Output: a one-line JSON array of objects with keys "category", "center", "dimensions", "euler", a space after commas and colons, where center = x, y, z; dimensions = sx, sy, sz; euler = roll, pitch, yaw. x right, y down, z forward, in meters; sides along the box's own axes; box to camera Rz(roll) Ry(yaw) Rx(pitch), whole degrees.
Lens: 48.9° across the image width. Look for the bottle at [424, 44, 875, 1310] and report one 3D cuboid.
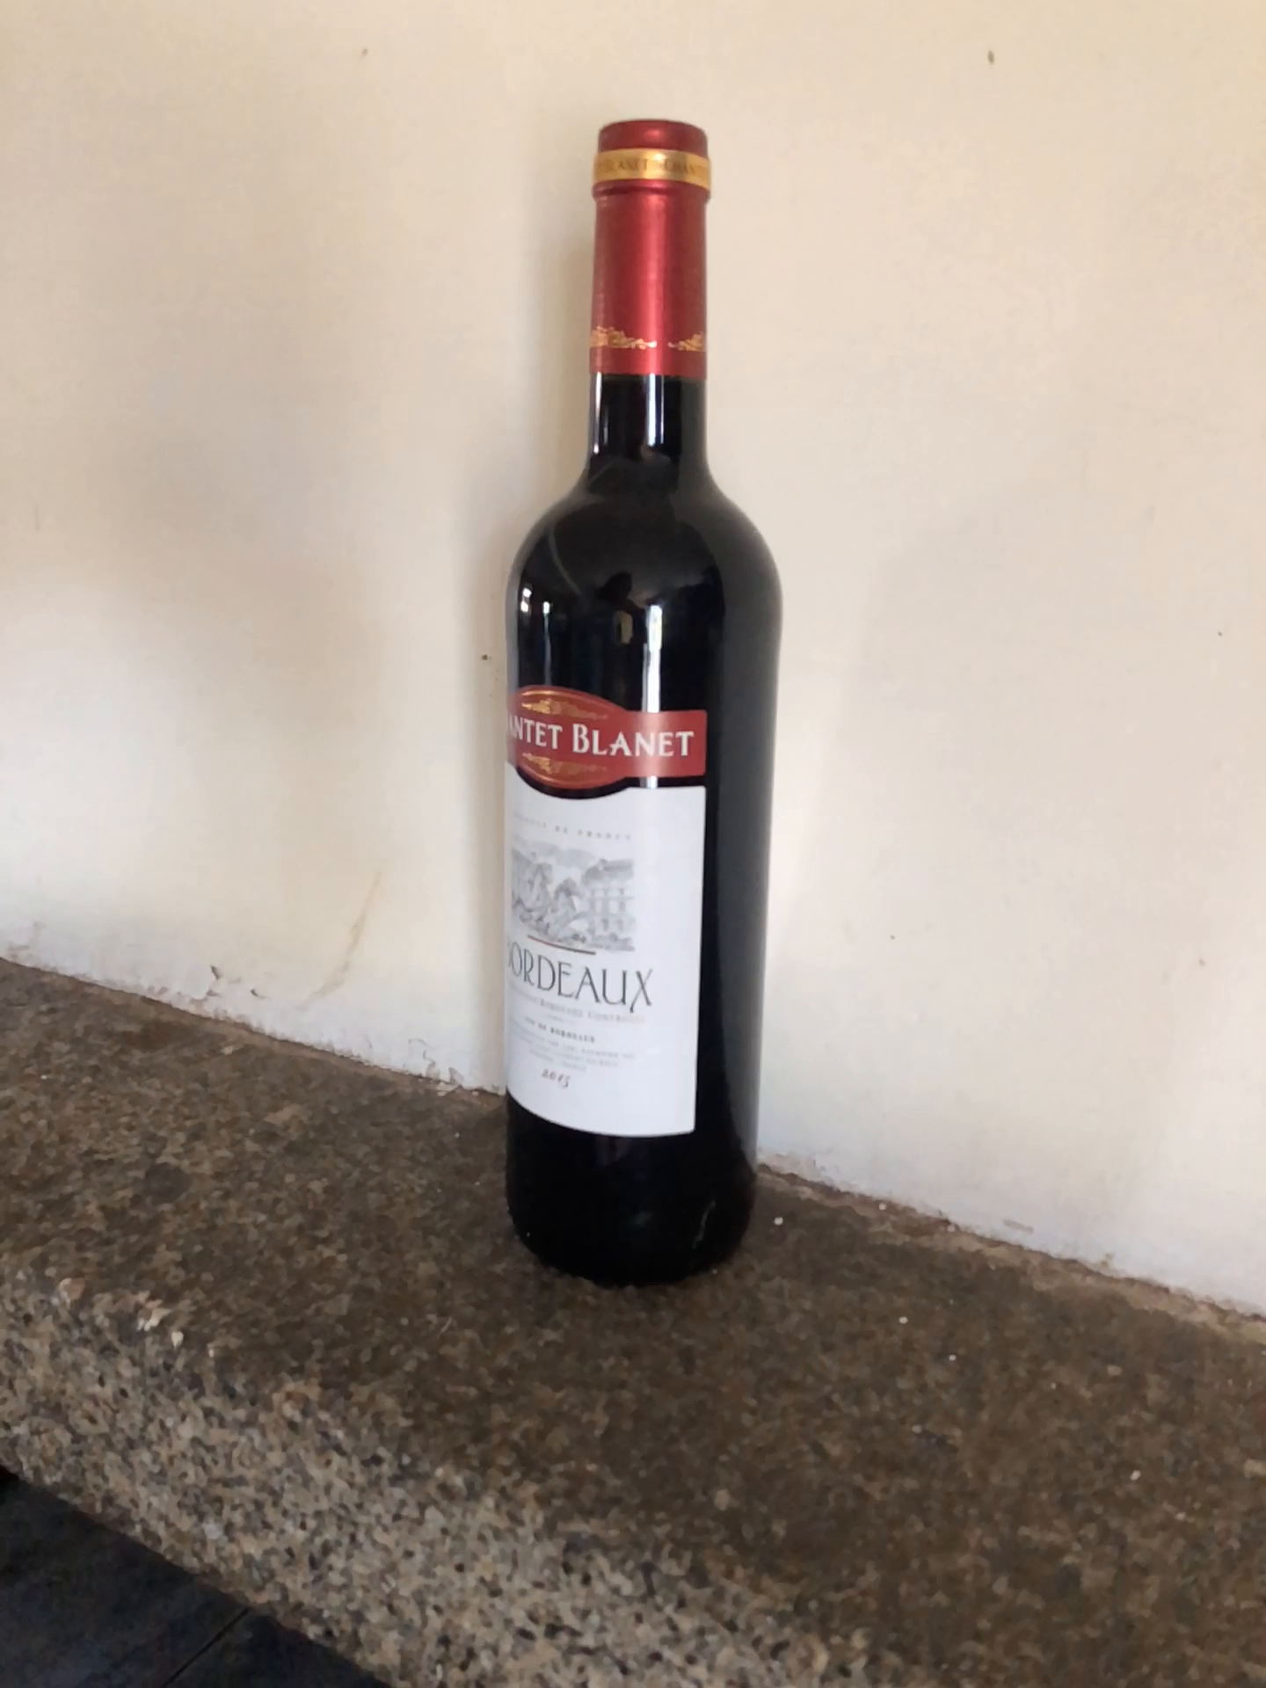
[{"category": "bottle", "center": [0.005, -0.037, 0.371], "dimensions": [0.080, 0.289, 0.080], "euler": [1, 14, 0]}]
